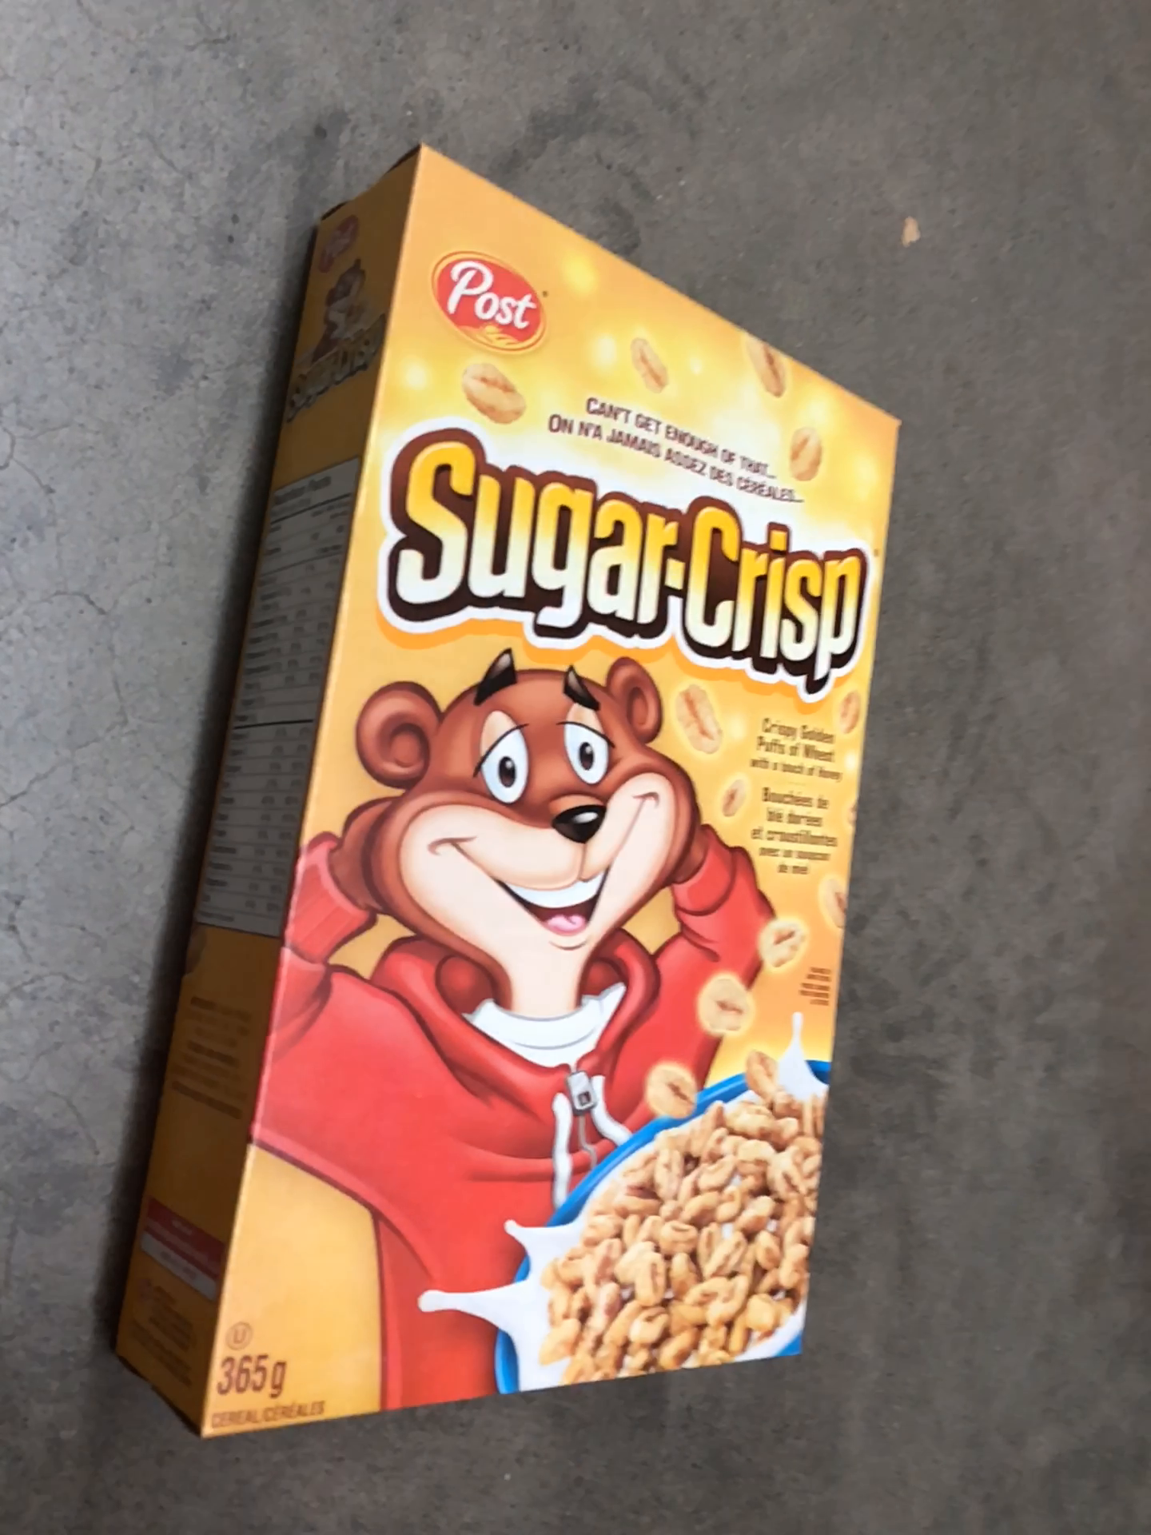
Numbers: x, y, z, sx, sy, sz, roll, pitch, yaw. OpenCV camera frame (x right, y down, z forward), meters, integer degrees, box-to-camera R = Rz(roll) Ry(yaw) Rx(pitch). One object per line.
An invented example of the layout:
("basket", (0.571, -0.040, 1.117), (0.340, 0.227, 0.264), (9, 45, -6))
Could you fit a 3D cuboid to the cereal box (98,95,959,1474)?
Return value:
("cereal box", (0.006, 0.013, 0.354), (0.201, 0.060, 0.300), (14, 80, -37))
